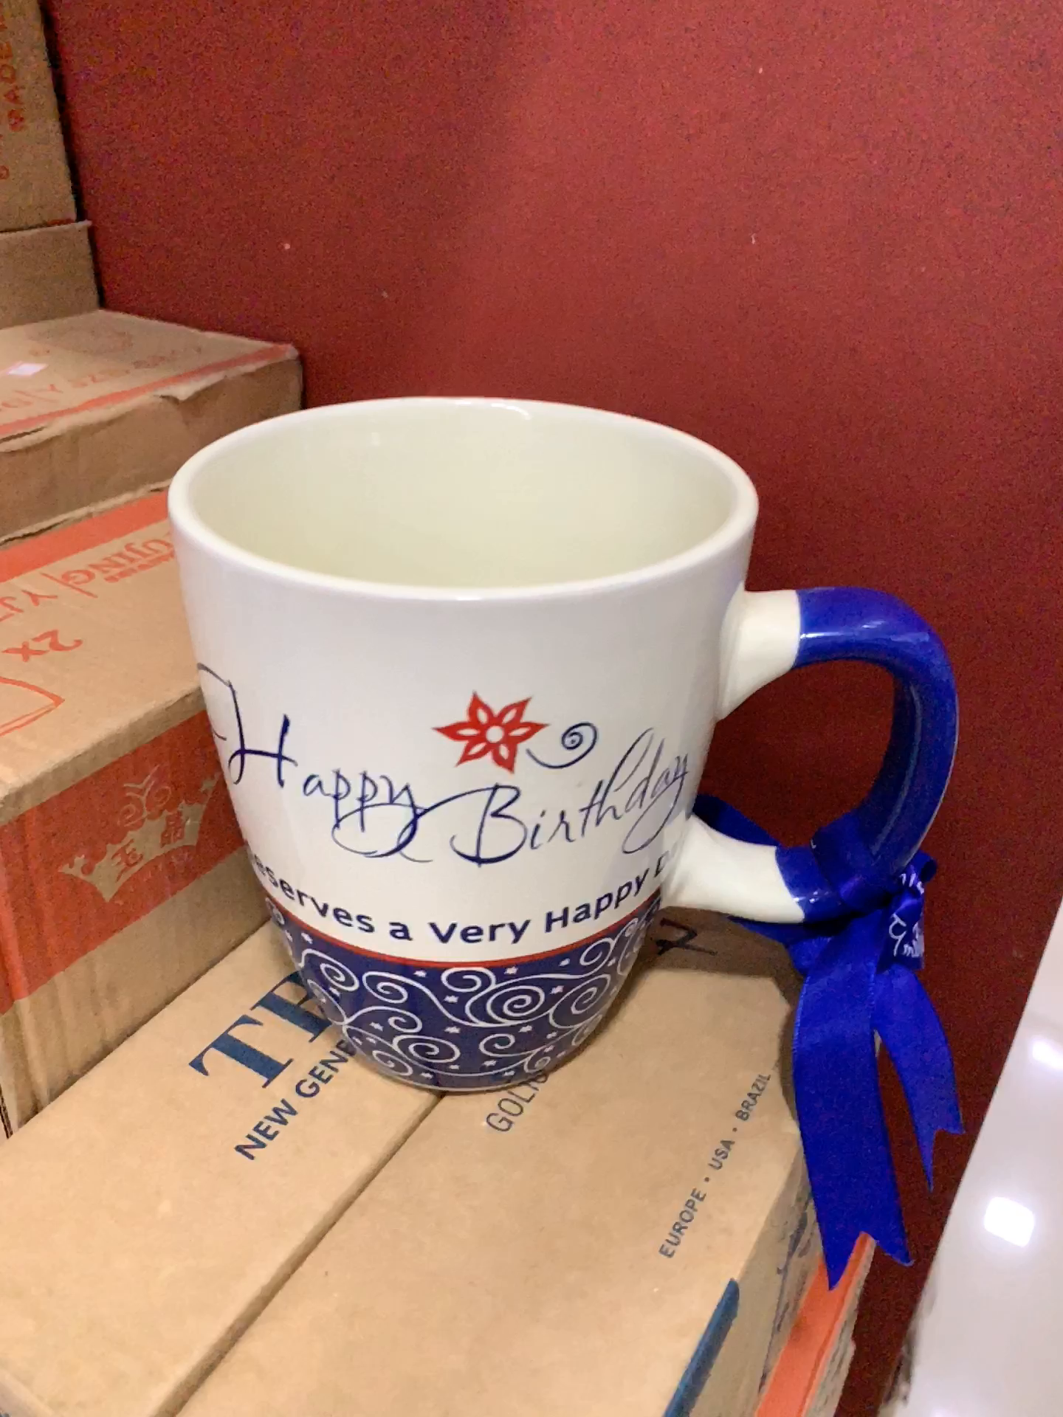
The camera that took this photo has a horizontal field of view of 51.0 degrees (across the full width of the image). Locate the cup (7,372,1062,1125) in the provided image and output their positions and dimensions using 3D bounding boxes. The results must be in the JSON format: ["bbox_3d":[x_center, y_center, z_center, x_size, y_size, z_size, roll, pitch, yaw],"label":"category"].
[{"bbox_3d":[0.005,0.000,0.190,0.131,0.086,0.092,3,31,1],"label":"cup"}]
